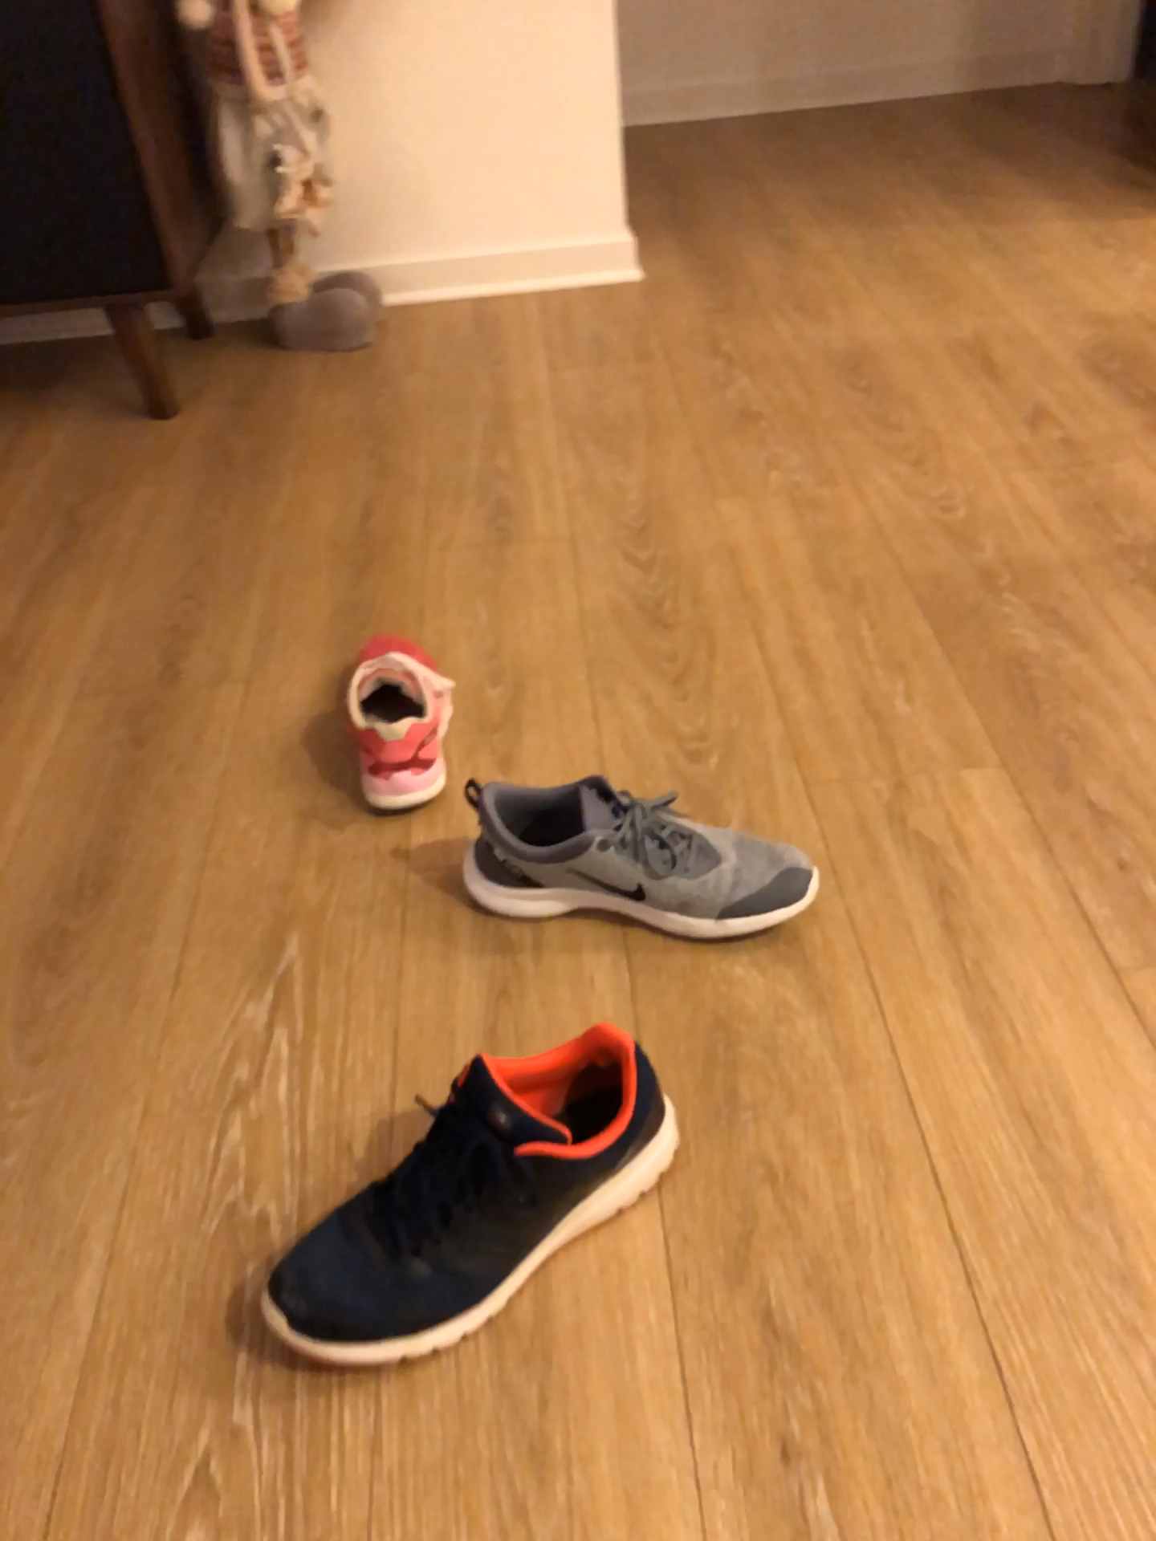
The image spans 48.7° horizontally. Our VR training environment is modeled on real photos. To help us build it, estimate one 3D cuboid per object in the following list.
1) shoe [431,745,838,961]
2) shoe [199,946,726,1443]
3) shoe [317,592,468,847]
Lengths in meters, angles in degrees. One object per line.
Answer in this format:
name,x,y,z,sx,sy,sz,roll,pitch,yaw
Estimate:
shoe,0.053,0.066,1.084,0.320,0.099,0.131,3,39,11
shoe,-0.064,0.265,0.848,0.321,0.099,0.130,-28,44,-27
shoe,-0.193,-0.060,1.302,0.120,0.099,0.282,-10,38,-6
